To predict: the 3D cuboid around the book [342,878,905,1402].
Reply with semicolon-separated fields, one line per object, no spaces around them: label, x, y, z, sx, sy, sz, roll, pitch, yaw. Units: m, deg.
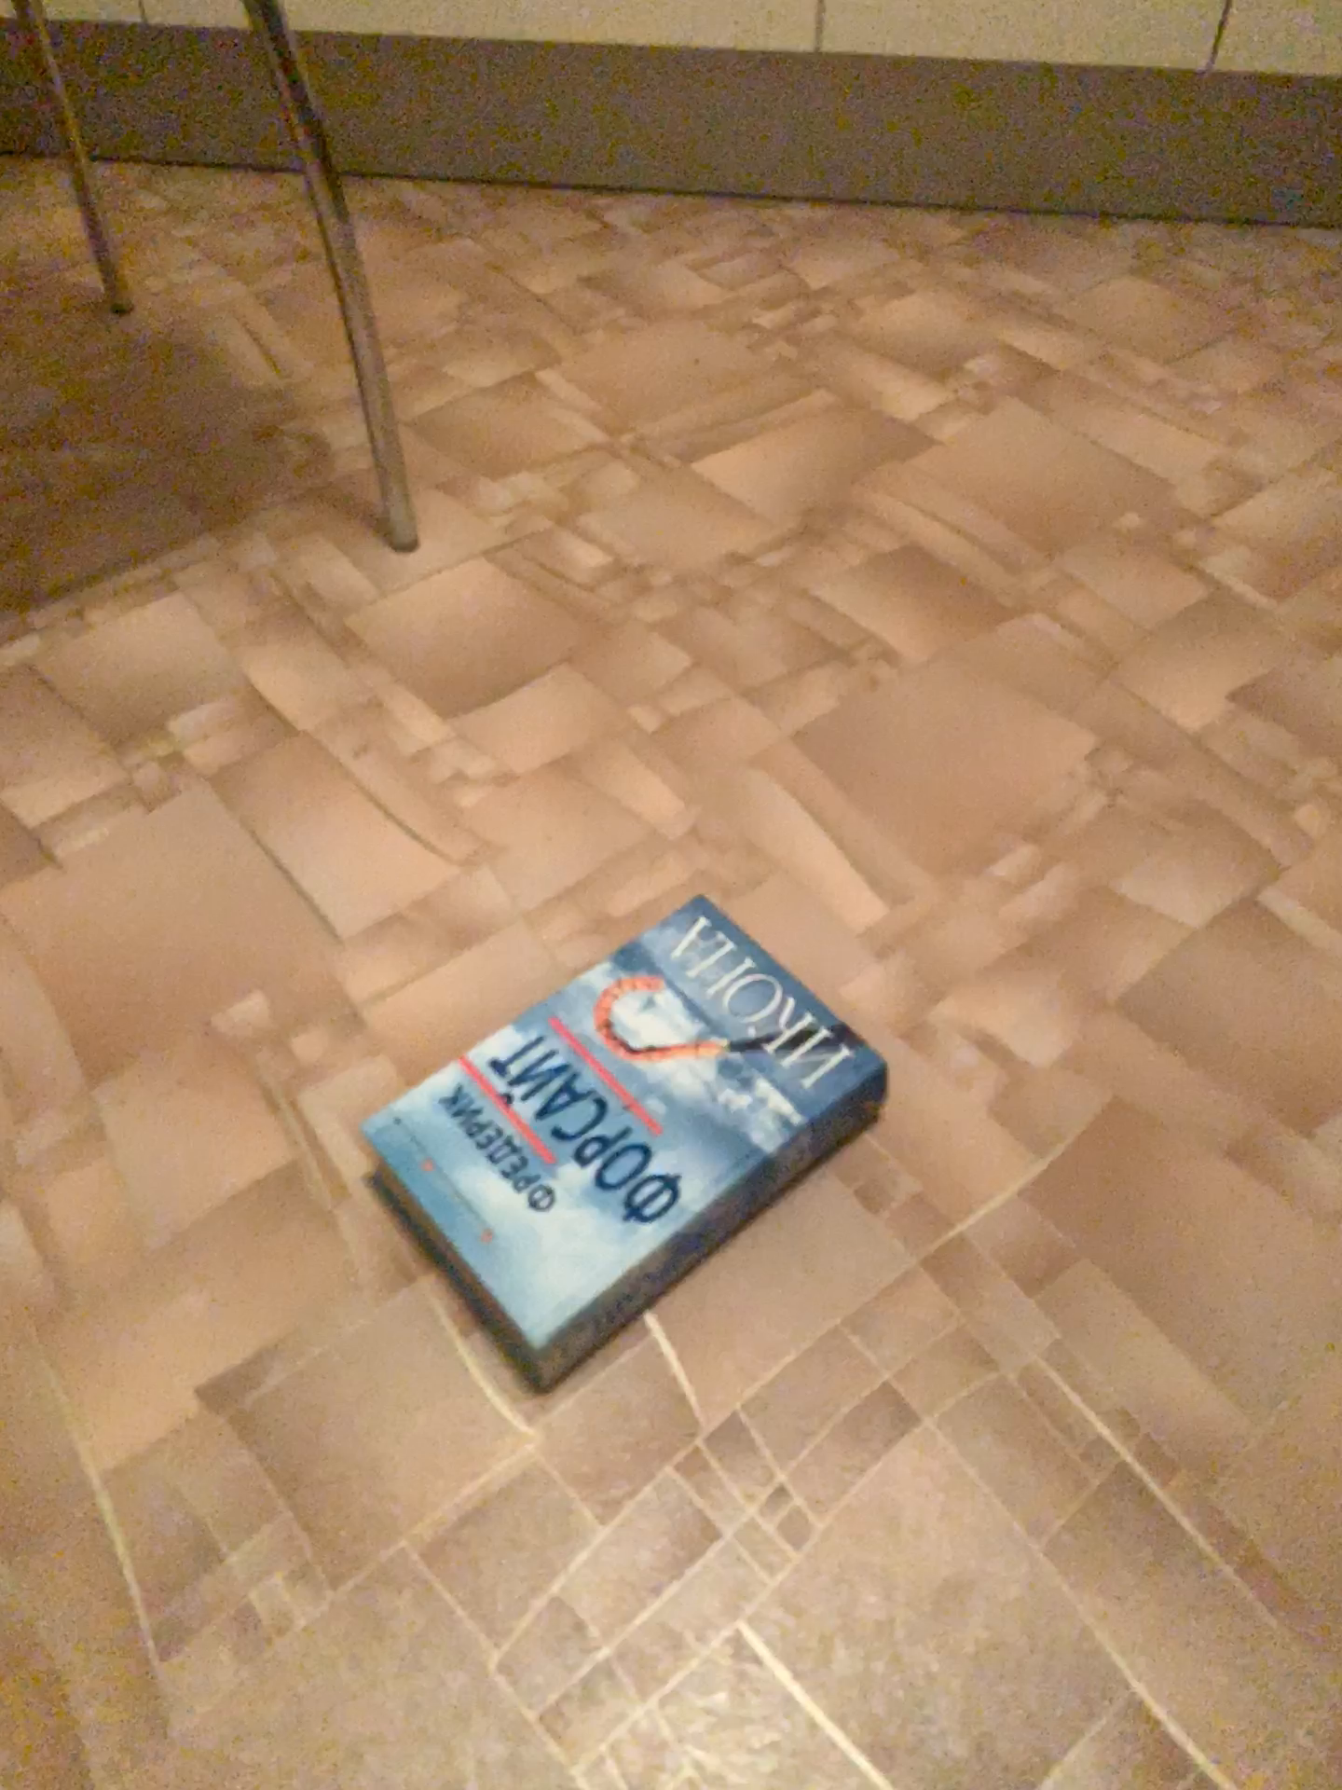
book;-0.021;0.109;0.669;0.224;0.056;0.153;-33;58;-25
